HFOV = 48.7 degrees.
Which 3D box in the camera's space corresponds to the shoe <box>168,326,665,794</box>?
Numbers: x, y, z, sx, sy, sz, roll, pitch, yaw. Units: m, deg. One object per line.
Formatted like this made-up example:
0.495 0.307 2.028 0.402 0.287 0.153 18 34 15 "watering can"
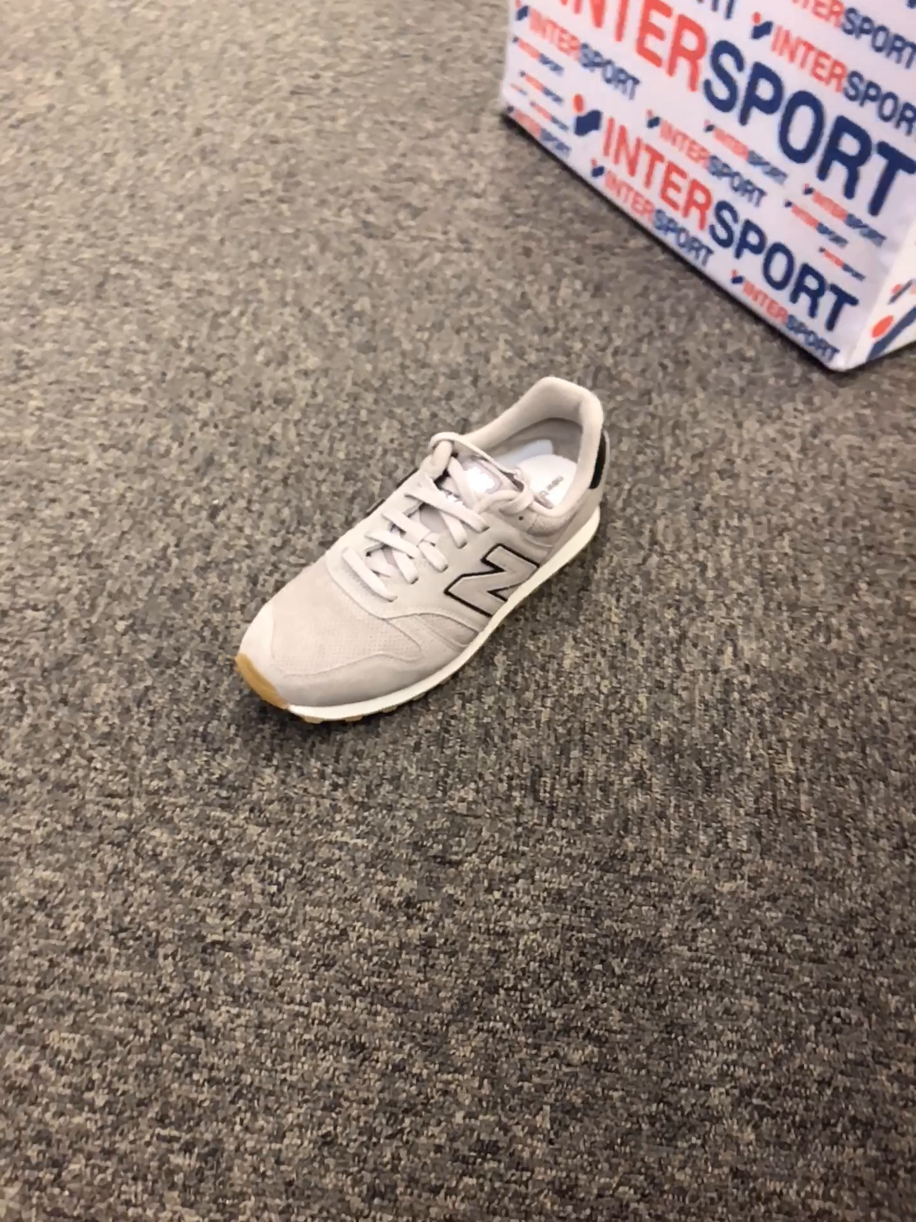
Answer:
-0.014 -0.037 0.568 0.261 0.109 0.100 -38 64 -27 "shoe"
